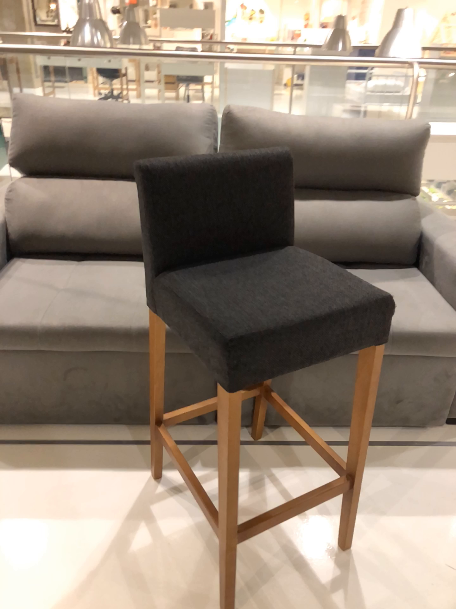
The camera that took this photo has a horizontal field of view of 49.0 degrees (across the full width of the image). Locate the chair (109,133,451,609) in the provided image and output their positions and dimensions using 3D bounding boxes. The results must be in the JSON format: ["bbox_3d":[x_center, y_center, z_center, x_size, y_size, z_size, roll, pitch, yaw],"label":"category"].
[{"bbox_3d":[0.047,0.133,1.240,0.451,0.973,0.584,-12,29,-27],"label":"chair"}]
